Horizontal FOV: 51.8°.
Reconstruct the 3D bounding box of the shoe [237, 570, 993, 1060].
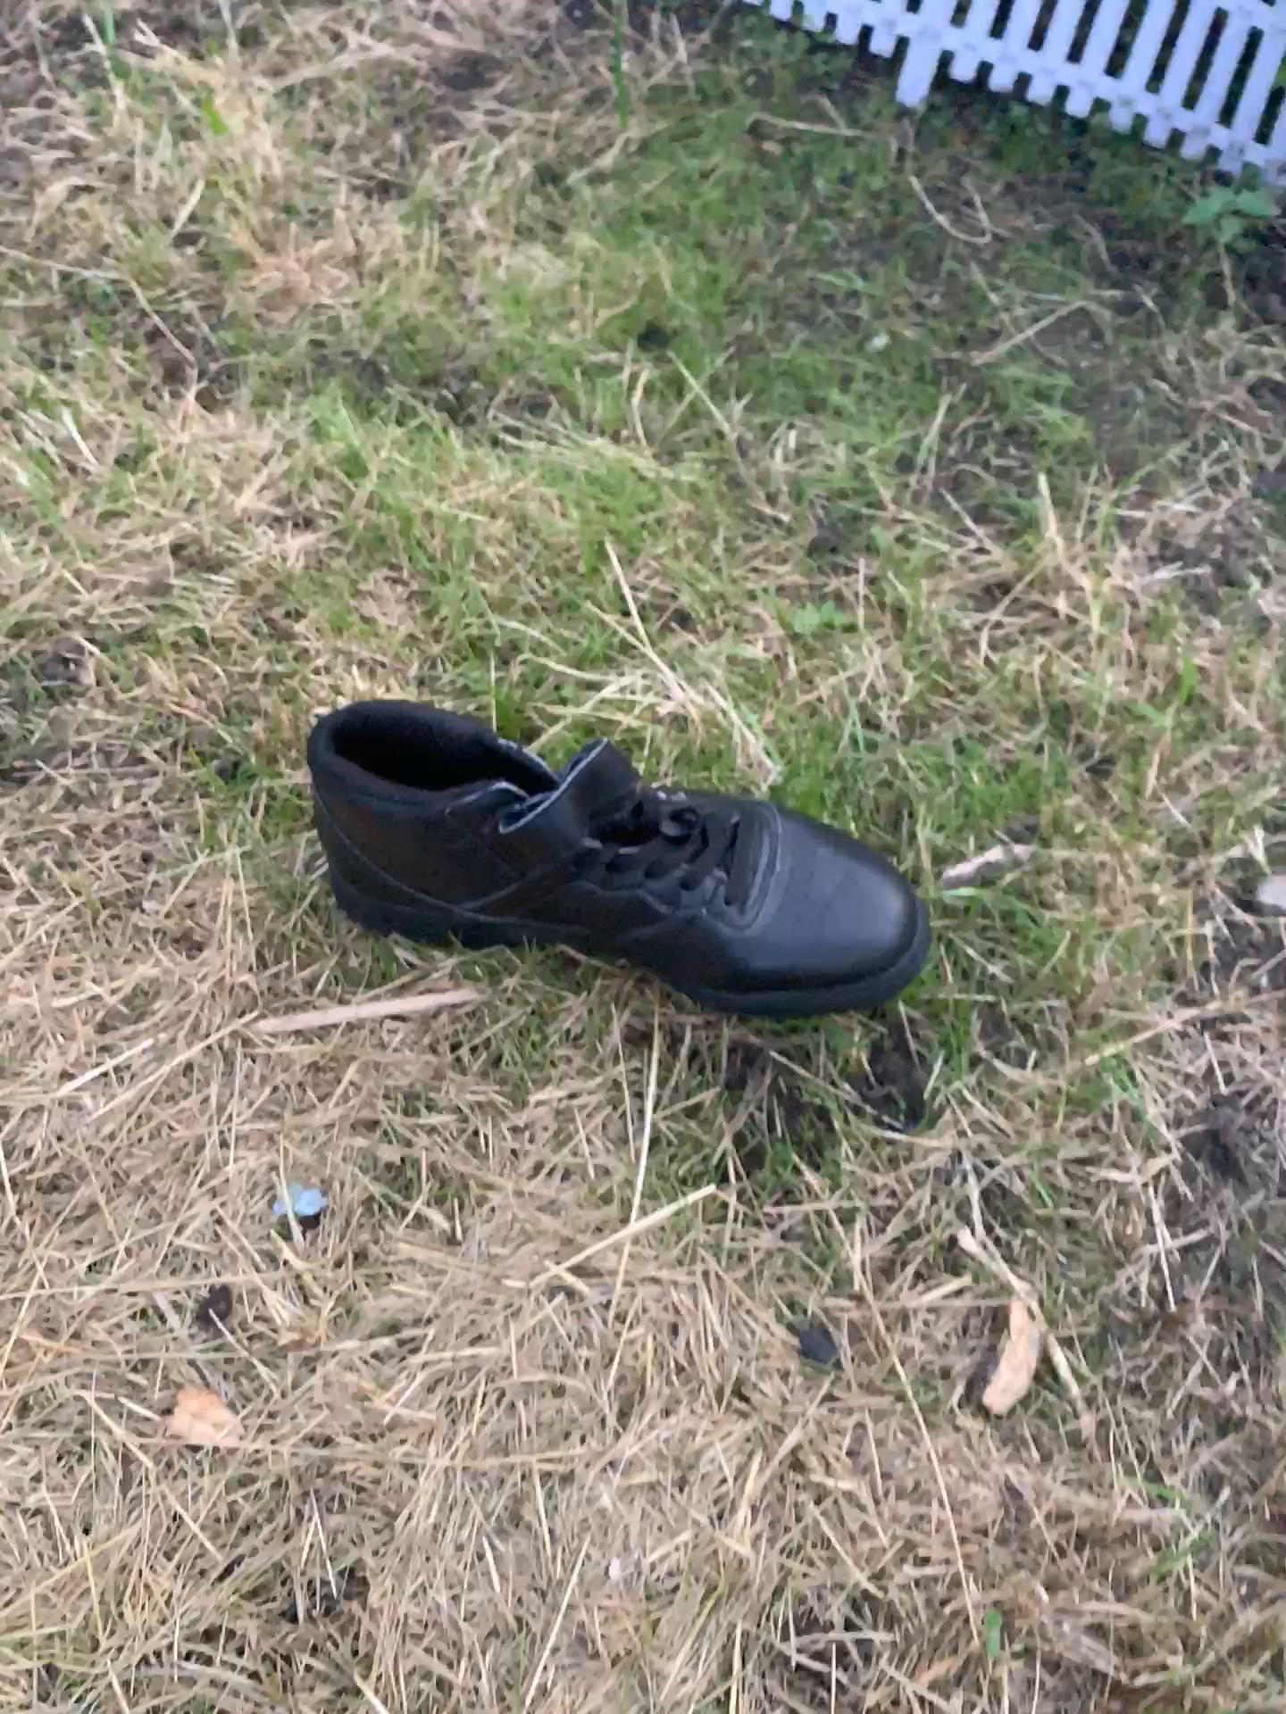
[{"bbox_3d":[-0.007,-0.016,0.551,0.270,0.119,0.111,10,56,5],"label":"shoe"}]
